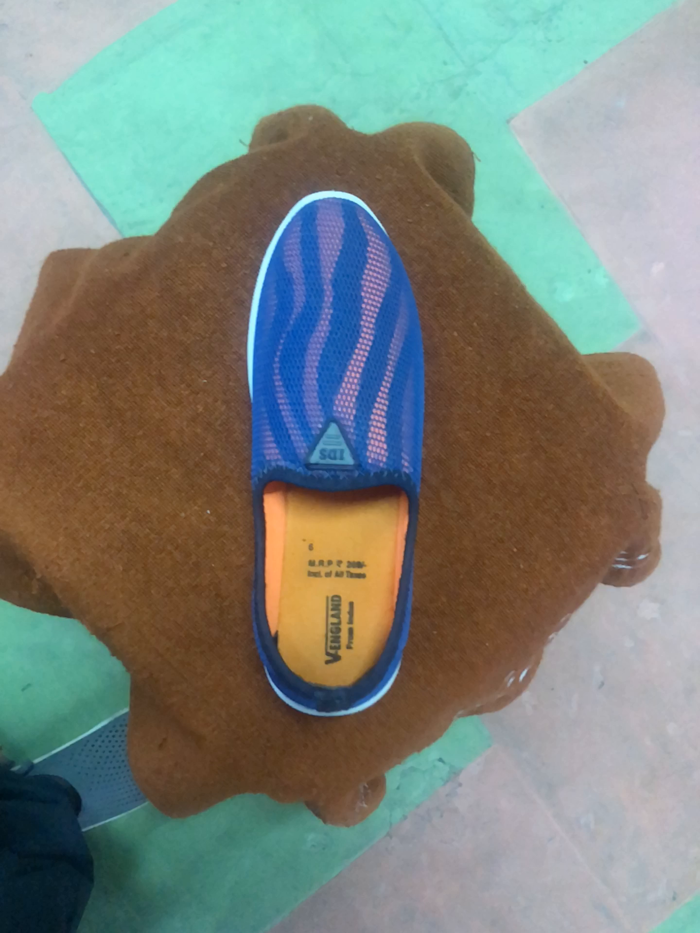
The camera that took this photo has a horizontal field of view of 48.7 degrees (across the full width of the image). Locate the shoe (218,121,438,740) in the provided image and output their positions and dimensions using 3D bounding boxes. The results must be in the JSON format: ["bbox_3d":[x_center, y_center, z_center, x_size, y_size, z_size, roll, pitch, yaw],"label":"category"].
[{"bbox_3d":[-0.012,-0.015,0.364,0.090,0.070,0.260,1,89,-6],"label":"shoe"}]
